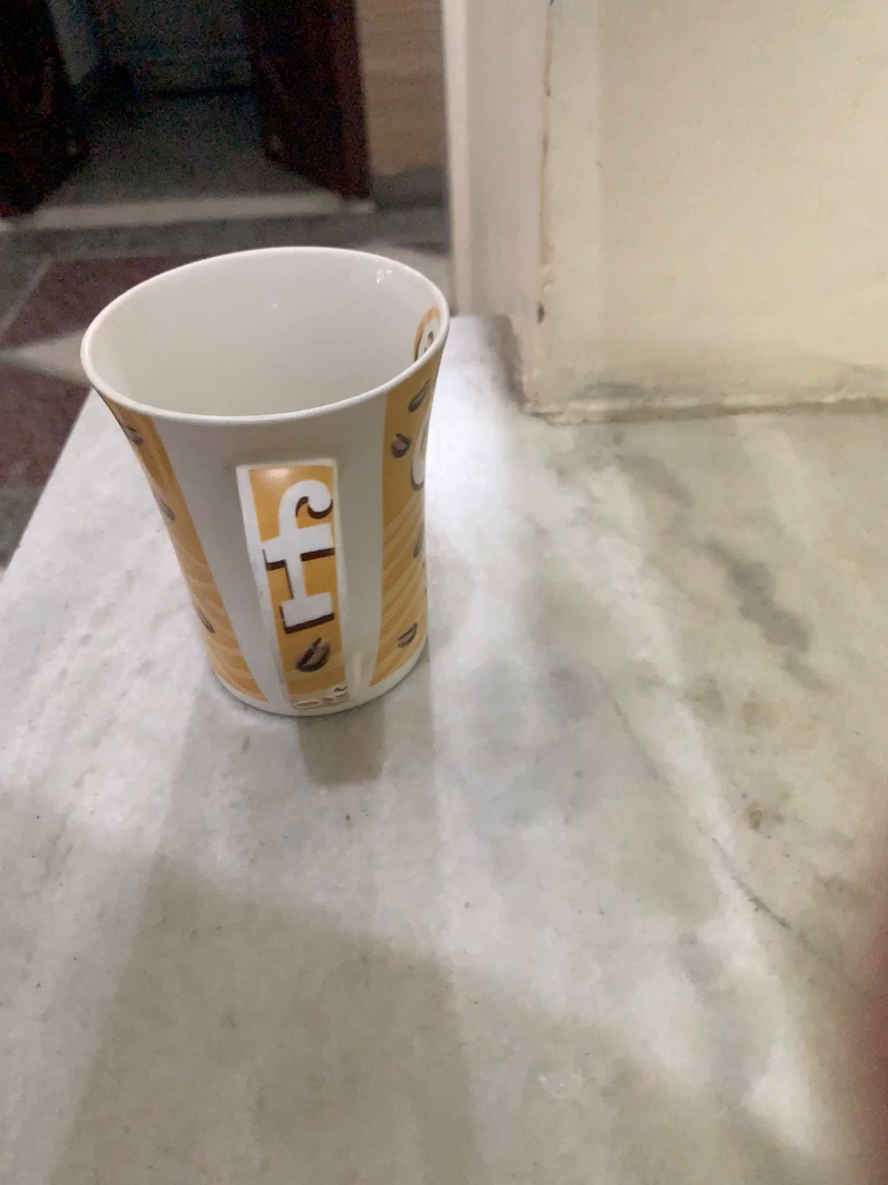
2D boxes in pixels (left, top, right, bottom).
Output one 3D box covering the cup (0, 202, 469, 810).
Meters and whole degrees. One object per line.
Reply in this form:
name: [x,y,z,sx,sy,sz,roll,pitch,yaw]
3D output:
cup: [-0.043,-0.024,0.229,0.080,0.100,0.100,-8,42,-7]
